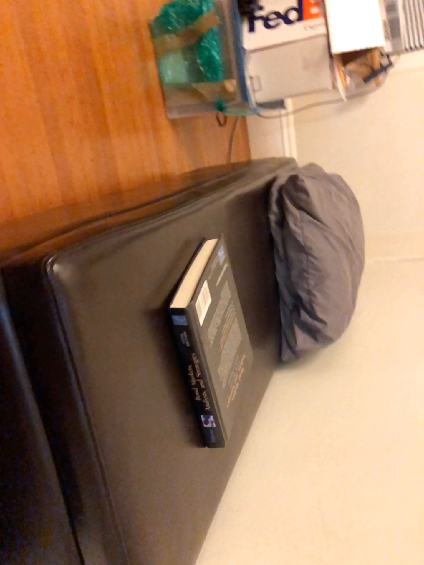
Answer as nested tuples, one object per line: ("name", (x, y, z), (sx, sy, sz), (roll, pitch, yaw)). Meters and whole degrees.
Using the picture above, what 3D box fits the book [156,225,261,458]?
("book", (0.011, 0.081, 0.671), (0.201, 0.040, 0.260), (-65, 146, -53))
